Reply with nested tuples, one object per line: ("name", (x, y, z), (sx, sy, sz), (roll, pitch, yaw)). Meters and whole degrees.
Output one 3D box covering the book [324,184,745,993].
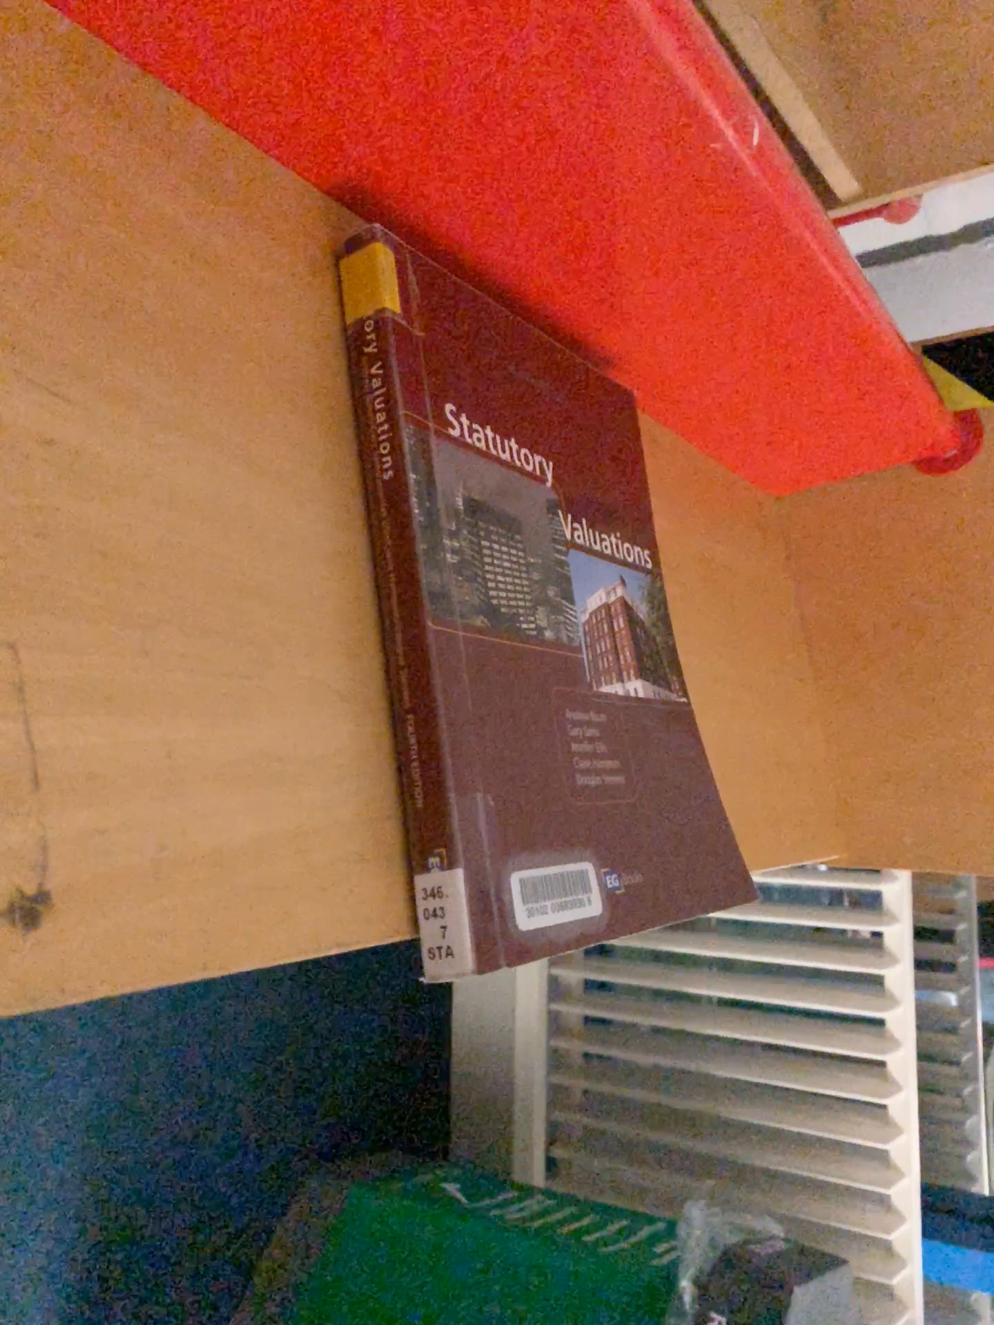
("book", (0.023, -0.021, 0.390), (0.190, 0.027, 0.252), (10, 68, -56))
